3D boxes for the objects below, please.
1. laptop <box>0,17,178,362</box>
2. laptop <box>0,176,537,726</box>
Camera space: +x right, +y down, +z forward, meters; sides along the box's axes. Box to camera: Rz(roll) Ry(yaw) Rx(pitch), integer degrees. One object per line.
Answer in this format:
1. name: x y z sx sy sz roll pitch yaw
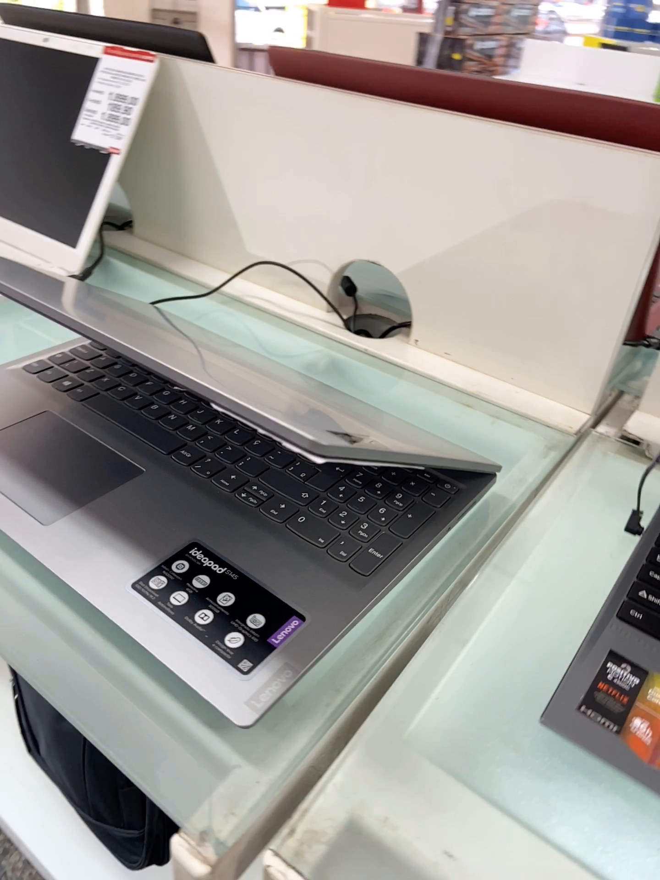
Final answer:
1. laptop: -0.452 -0.300 0.702 0.410 0.202 0.384 27 40 31
2. laptop: -0.103 -0.049 0.435 0.364 0.127 0.251 26 39 29
